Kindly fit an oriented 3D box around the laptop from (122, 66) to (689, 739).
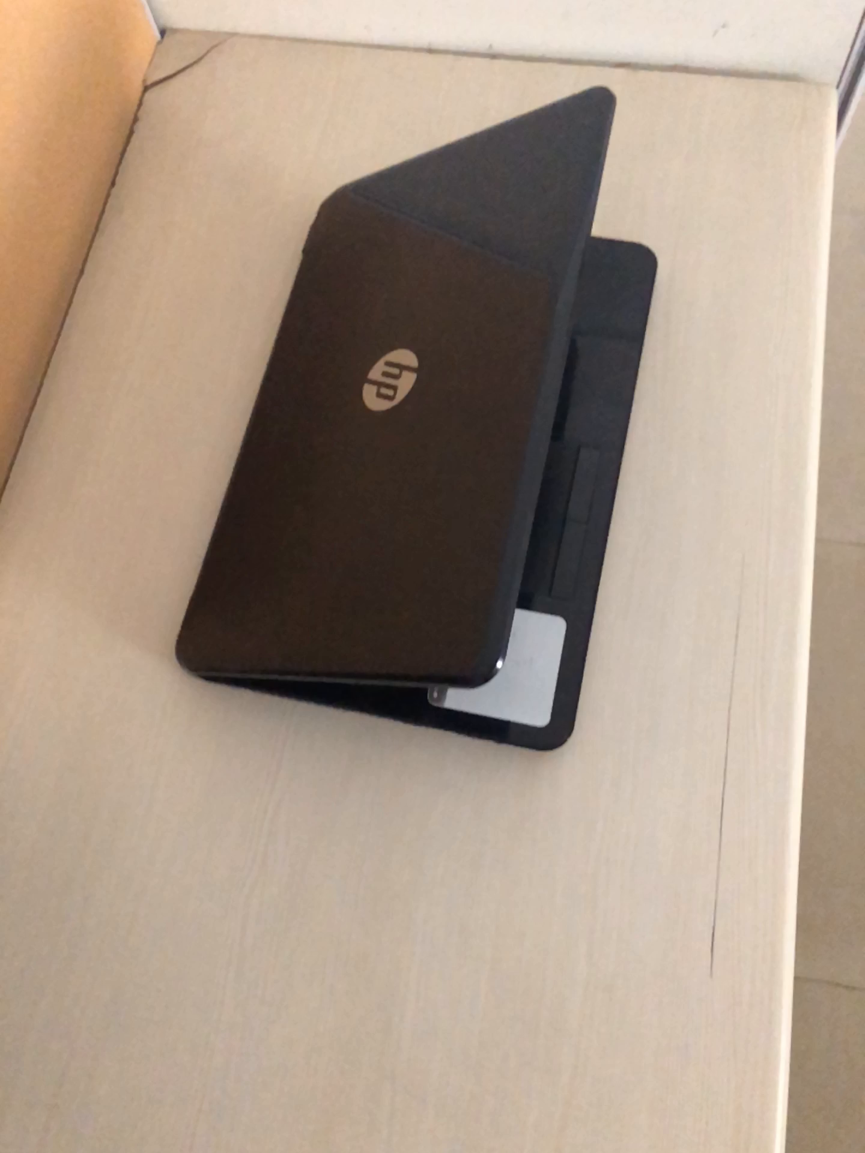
[{"bbox_3d":[0.002,-0.108,0.579,0.223,0.131,0.353,12,72,9],"label":"laptop"}]
